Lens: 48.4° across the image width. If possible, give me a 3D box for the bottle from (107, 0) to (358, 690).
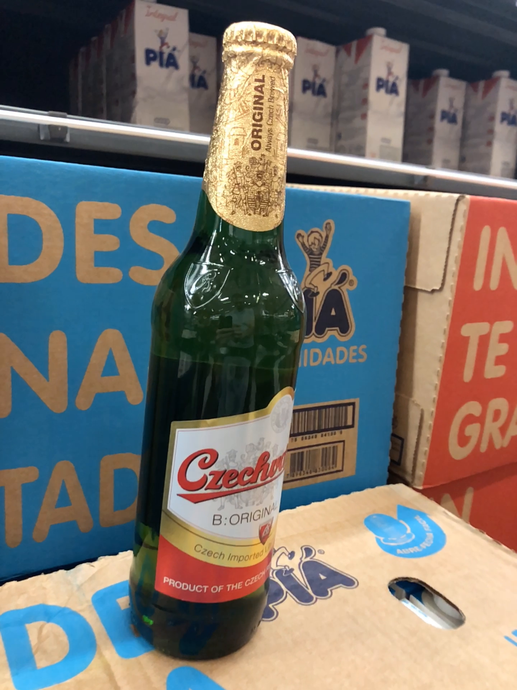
[{"bbox_3d":[-0.017,-0.004,0.254,0.070,0.269,0.070,3,10,-1],"label":"bottle"}]
